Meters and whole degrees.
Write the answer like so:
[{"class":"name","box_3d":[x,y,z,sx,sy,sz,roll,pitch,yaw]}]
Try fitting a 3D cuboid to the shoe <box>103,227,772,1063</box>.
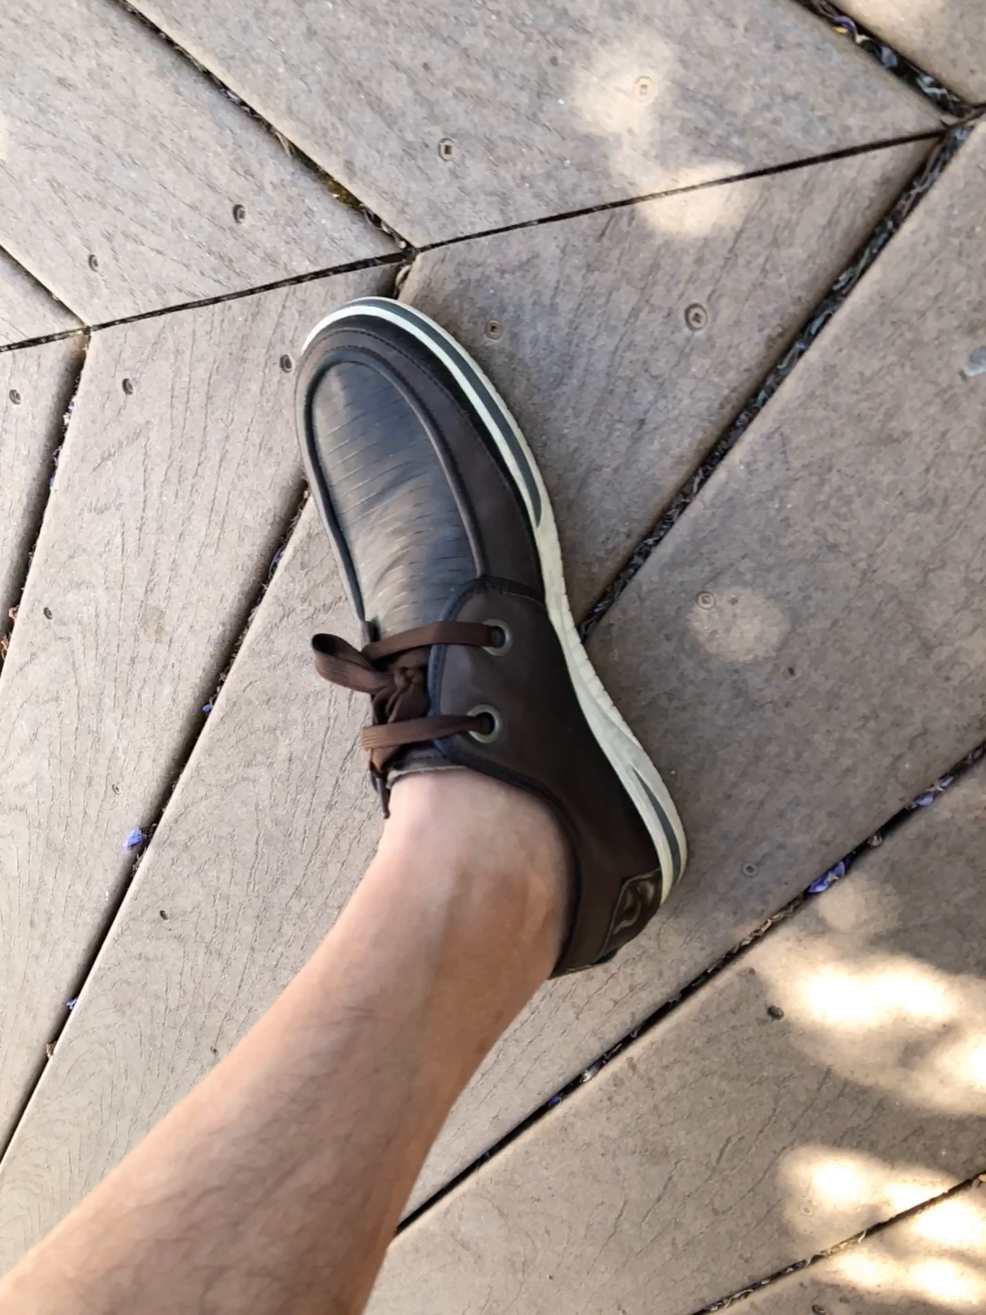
[{"class":"shoe","box_3d":[-0.009,-0.001,0.431,0.110,0.110,0.296,-20,102,32]}]
